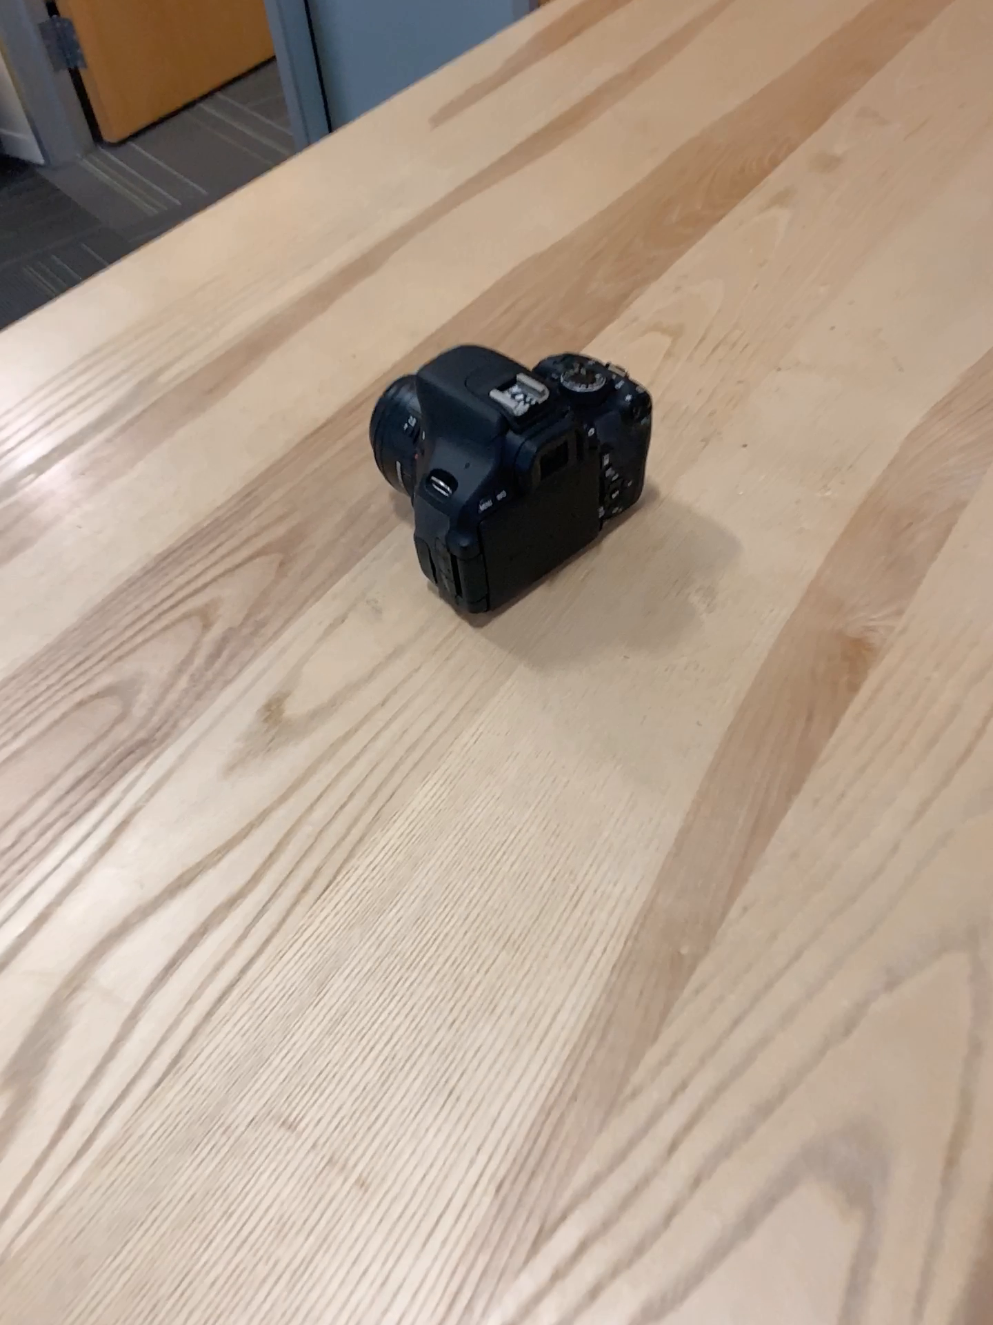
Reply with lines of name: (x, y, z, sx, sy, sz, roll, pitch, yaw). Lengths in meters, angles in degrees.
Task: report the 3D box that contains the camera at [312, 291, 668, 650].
camera: (-0.001, -0.101, 0.518, 0.123, 0.094, 0.116, -37, 56, -24)
